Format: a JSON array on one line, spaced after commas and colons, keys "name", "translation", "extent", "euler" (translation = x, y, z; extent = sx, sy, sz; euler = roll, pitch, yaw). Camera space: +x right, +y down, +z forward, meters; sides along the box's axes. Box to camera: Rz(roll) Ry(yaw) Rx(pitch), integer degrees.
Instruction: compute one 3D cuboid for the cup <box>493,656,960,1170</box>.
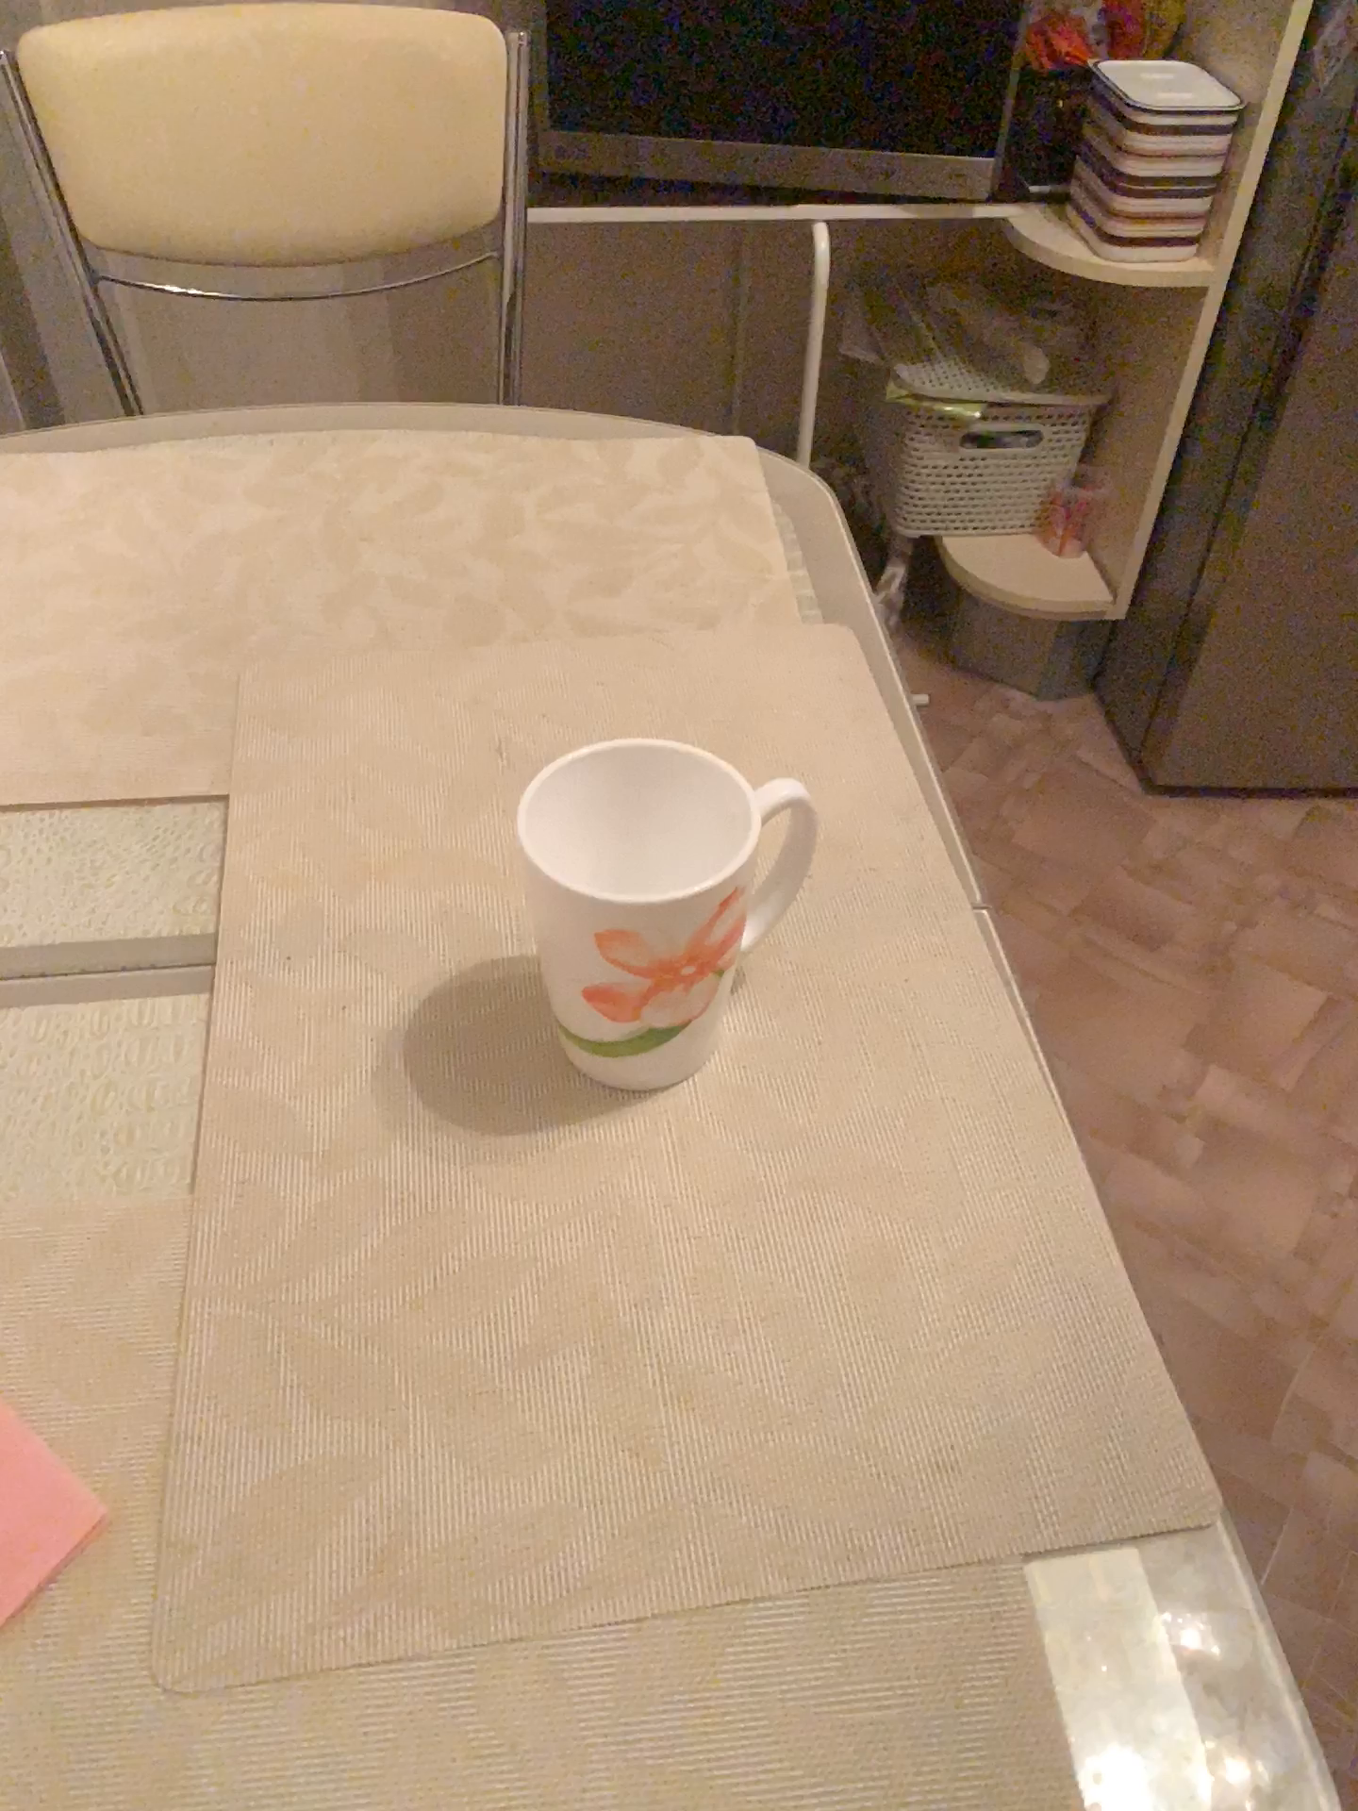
[{"name": "cup", "translation": [0.014, 0.001, 0.467], "extent": [0.120, 0.109, 0.080], "euler": [-27, 52, -25]}]
